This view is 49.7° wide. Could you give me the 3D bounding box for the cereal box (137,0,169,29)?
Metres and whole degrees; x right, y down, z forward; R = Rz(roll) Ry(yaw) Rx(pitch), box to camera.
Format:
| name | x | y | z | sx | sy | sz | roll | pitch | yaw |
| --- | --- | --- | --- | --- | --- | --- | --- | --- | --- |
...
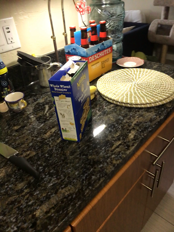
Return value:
| name | x | y | z | sx | sy | sz | roll | pitch | yaw |
| --- | --- | --- | --- | --- | --- | --- | --- | --- | --- |
| cereal box | 2.229 | -3.537 | 6.376 | 0.750 | 0.913 | 0.756 | 14 | 39 | 25 |
